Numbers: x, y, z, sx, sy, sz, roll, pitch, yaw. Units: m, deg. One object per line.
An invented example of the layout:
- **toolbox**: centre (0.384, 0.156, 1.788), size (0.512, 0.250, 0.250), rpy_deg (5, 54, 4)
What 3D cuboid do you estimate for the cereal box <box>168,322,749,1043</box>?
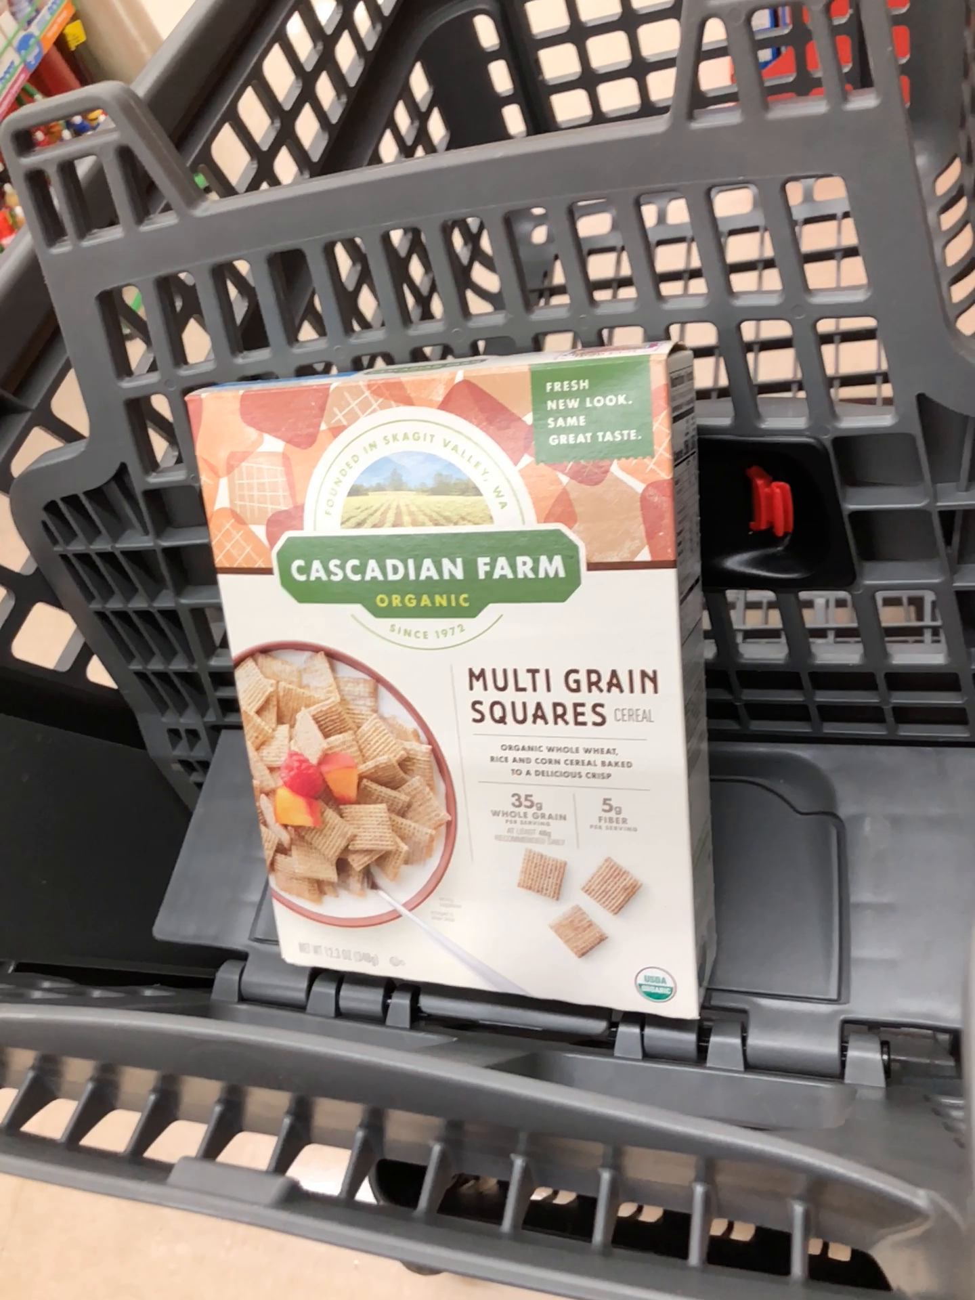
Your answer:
- **cereal box**: centre (-0.005, 0.014, 0.436), size (0.200, 0.260, 0.060), rpy_deg (1, 17, 23)
